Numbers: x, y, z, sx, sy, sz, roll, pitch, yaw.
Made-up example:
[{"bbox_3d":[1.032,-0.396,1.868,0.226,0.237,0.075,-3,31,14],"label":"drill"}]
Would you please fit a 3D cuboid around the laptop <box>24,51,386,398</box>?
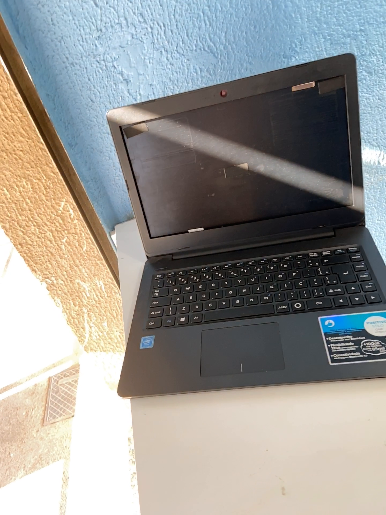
[{"bbox_3d":[0.059,-0.049,0.476,0.337,0.214,0.311,-9,39,11],"label":"laptop"}]
